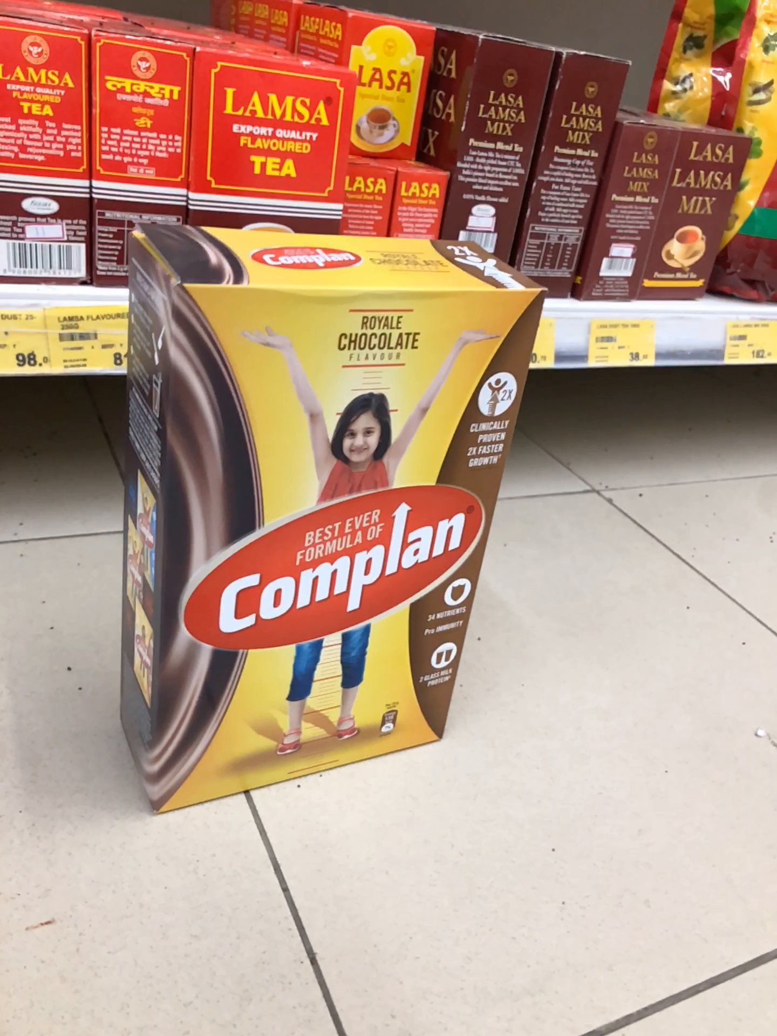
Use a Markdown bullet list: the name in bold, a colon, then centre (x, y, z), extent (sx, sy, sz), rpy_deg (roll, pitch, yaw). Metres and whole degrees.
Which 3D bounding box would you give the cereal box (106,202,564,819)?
- **cereal box**: centre (-0.037, 0.001, 0.386), extent (0.161, 0.248, 0.070), rpy_deg (-6, 33, -28)
